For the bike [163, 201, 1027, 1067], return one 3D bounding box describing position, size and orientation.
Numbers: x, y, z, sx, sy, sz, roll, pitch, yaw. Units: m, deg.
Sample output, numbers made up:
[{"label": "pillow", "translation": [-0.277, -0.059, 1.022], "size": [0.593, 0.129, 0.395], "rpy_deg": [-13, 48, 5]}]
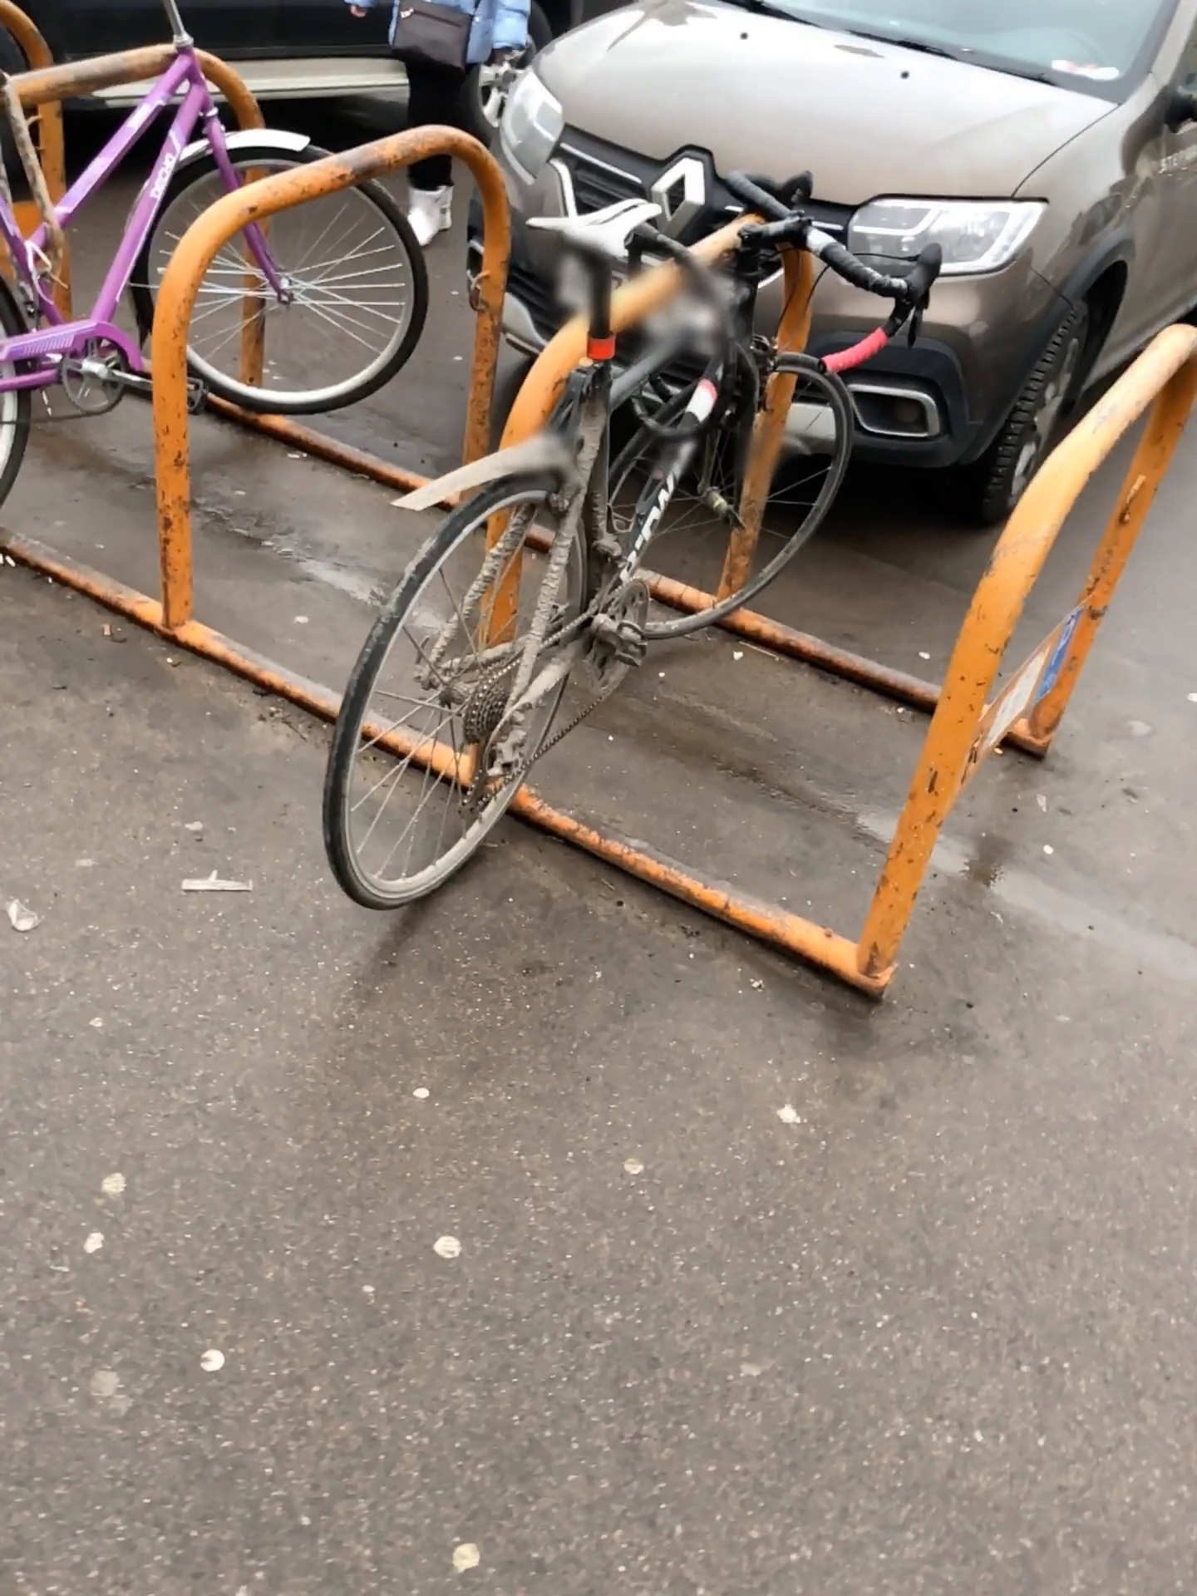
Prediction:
[{"label": "bike", "translation": [0.084, -0.402, 2.091], "size": [0.490, 0.761, 1.522], "rpy_deg": [26, 39, 22]}]
